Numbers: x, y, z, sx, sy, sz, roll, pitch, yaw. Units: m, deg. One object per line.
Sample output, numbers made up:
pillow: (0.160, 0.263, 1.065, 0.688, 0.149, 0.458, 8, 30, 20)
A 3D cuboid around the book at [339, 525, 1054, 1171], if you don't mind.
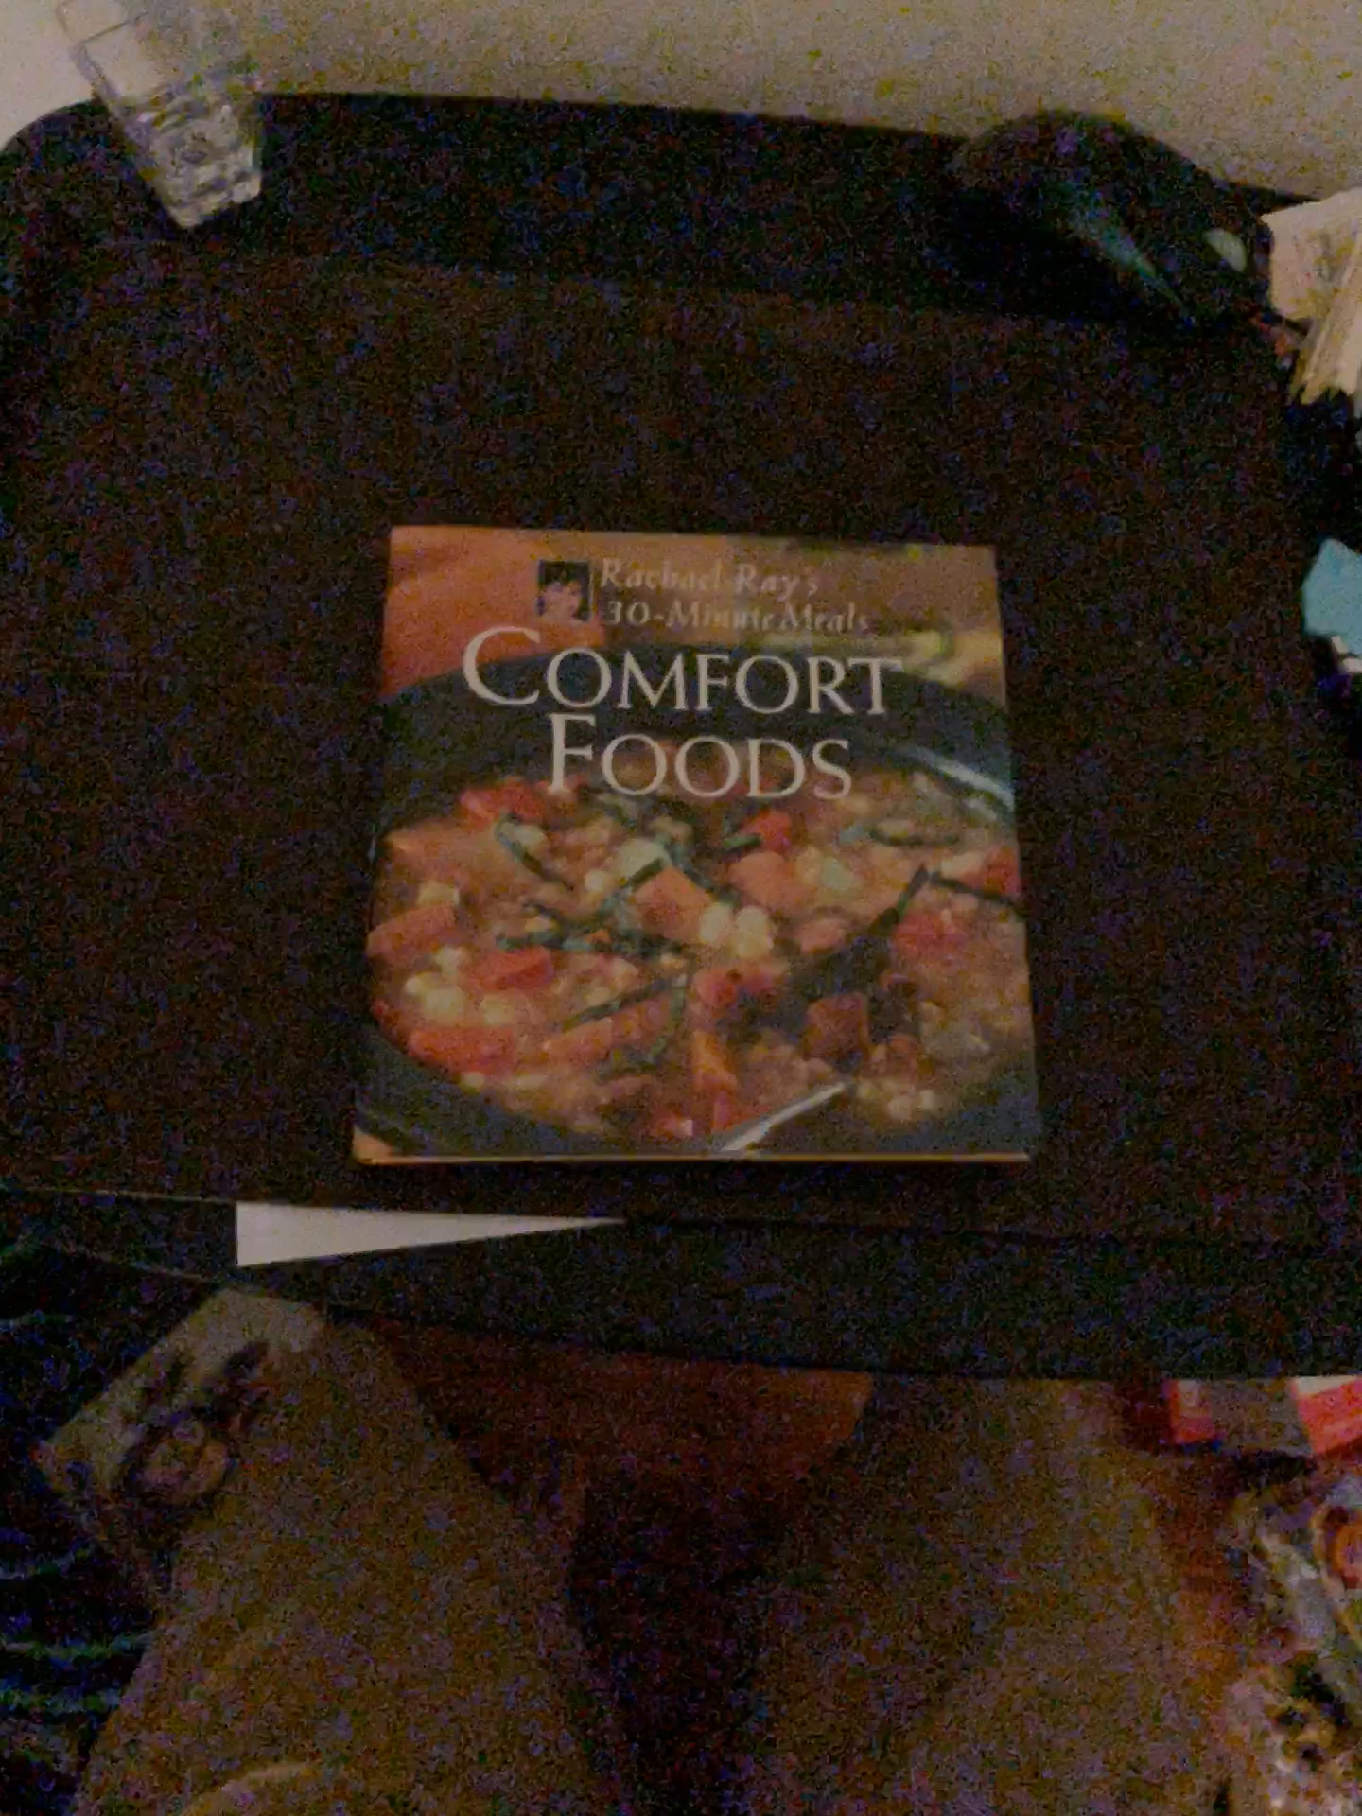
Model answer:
book: (0.004, -0.022, 0.434, 0.200, 0.020, 0.200, 0, 72, -4)
